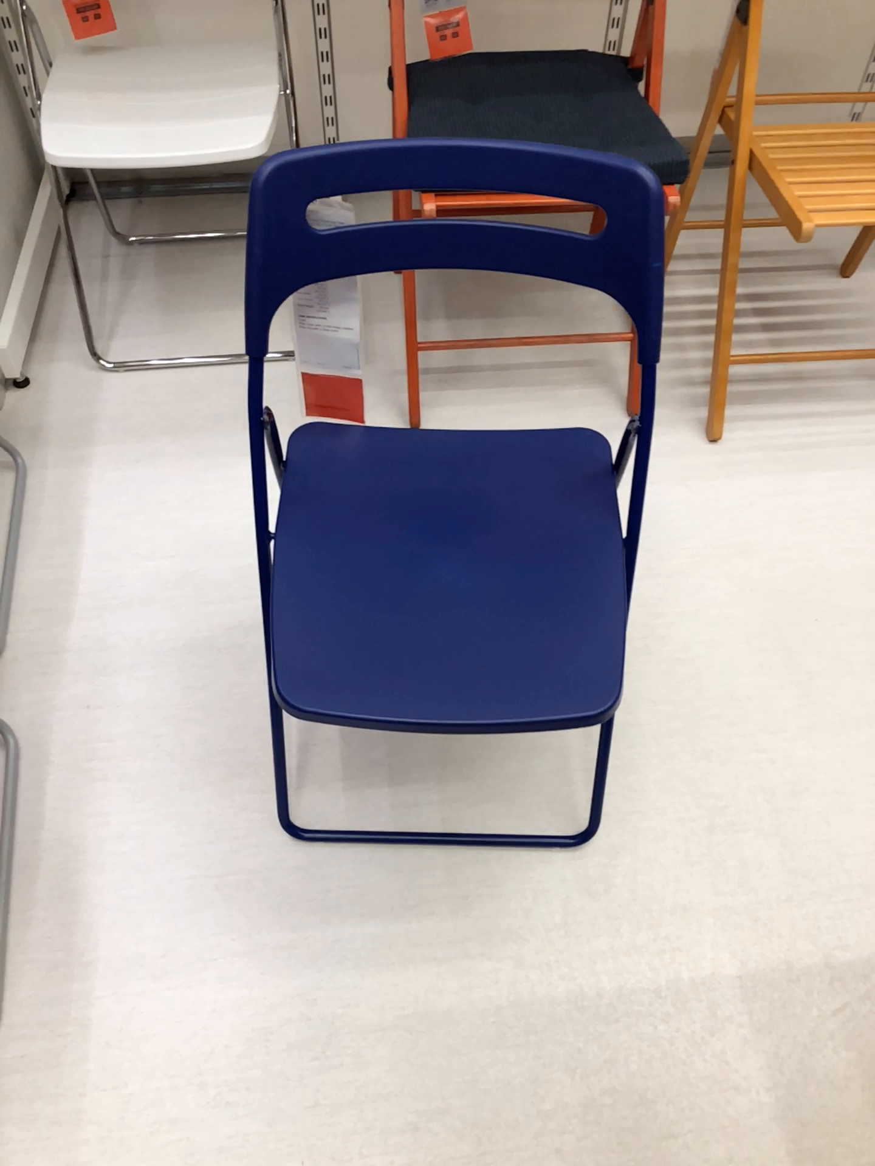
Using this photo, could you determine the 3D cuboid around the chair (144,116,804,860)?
[{"bbox_3d":[0.026,-0.058,1.098,0.460,0.696,0.503,1,54,0],"label":"chair"}]
